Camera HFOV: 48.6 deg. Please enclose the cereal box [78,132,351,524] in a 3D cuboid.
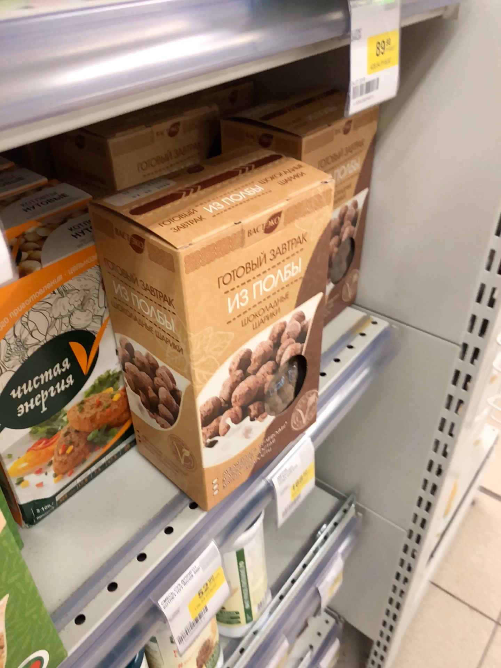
[{"bbox_3d":[-0.014,-0.004,0.366,0.080,0.209,0.130,29,45,35],"label":"cereal box"}]
